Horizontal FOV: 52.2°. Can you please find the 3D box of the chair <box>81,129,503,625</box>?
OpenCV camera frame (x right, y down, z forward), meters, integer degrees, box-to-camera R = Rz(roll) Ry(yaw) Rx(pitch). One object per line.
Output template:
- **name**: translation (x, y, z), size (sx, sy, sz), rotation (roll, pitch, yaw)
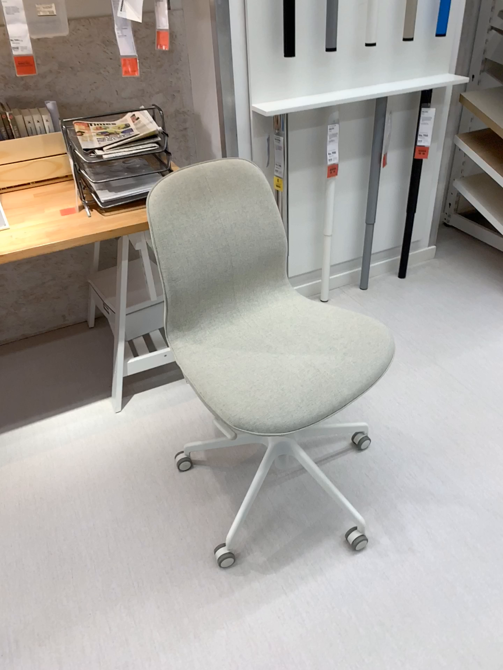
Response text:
- **chair**: translation (0.092, 0.049, 1.303), size (0.660, 0.866, 0.663), rotation (-22, 39, -24)
